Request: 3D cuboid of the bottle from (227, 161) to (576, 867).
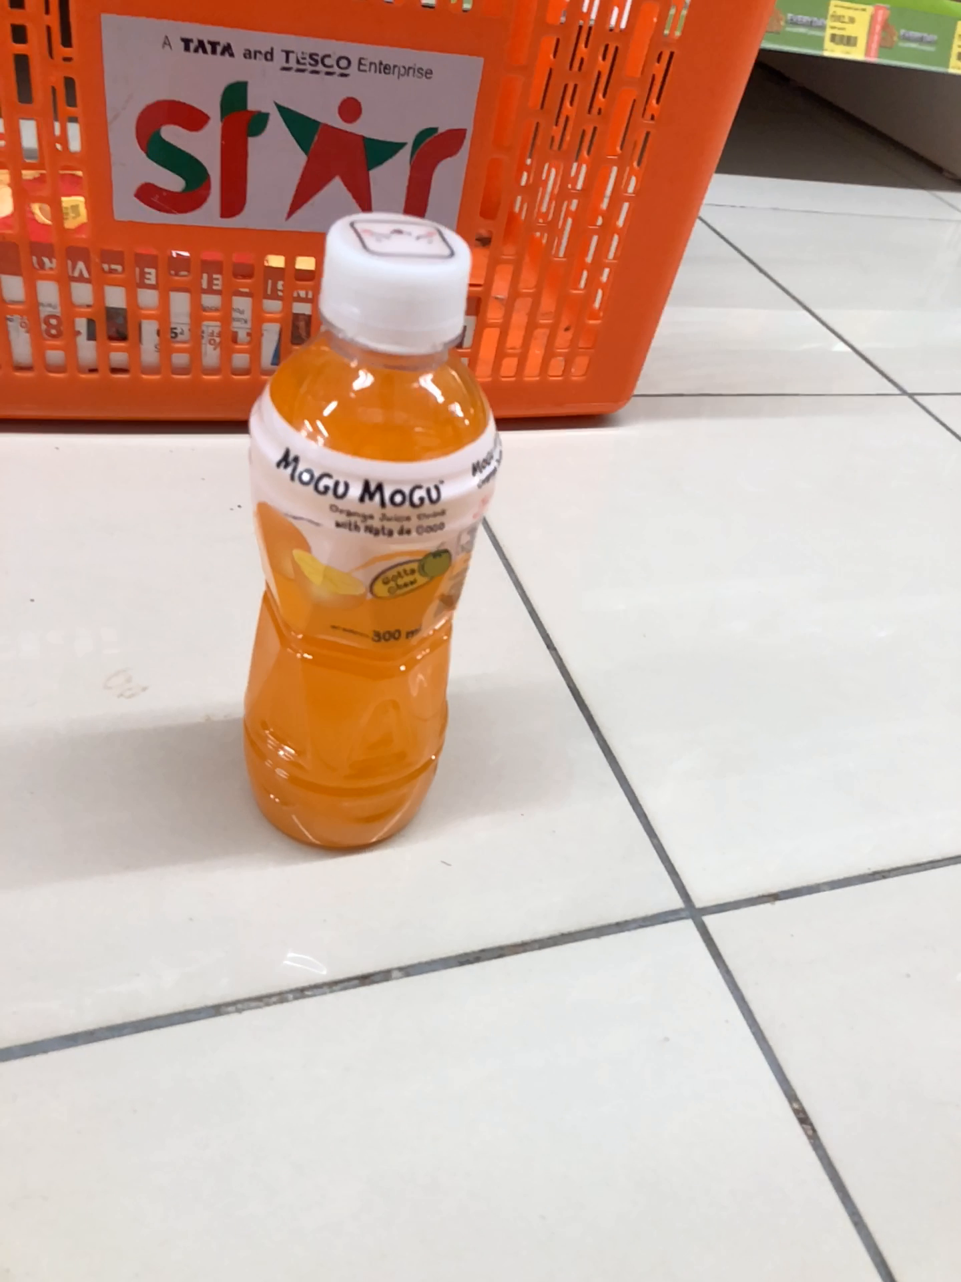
[{"bbox_3d":[-0.028,-0.021,0.261,0.060,0.159,0.066,7,40,-6],"label":"bottle"}]
